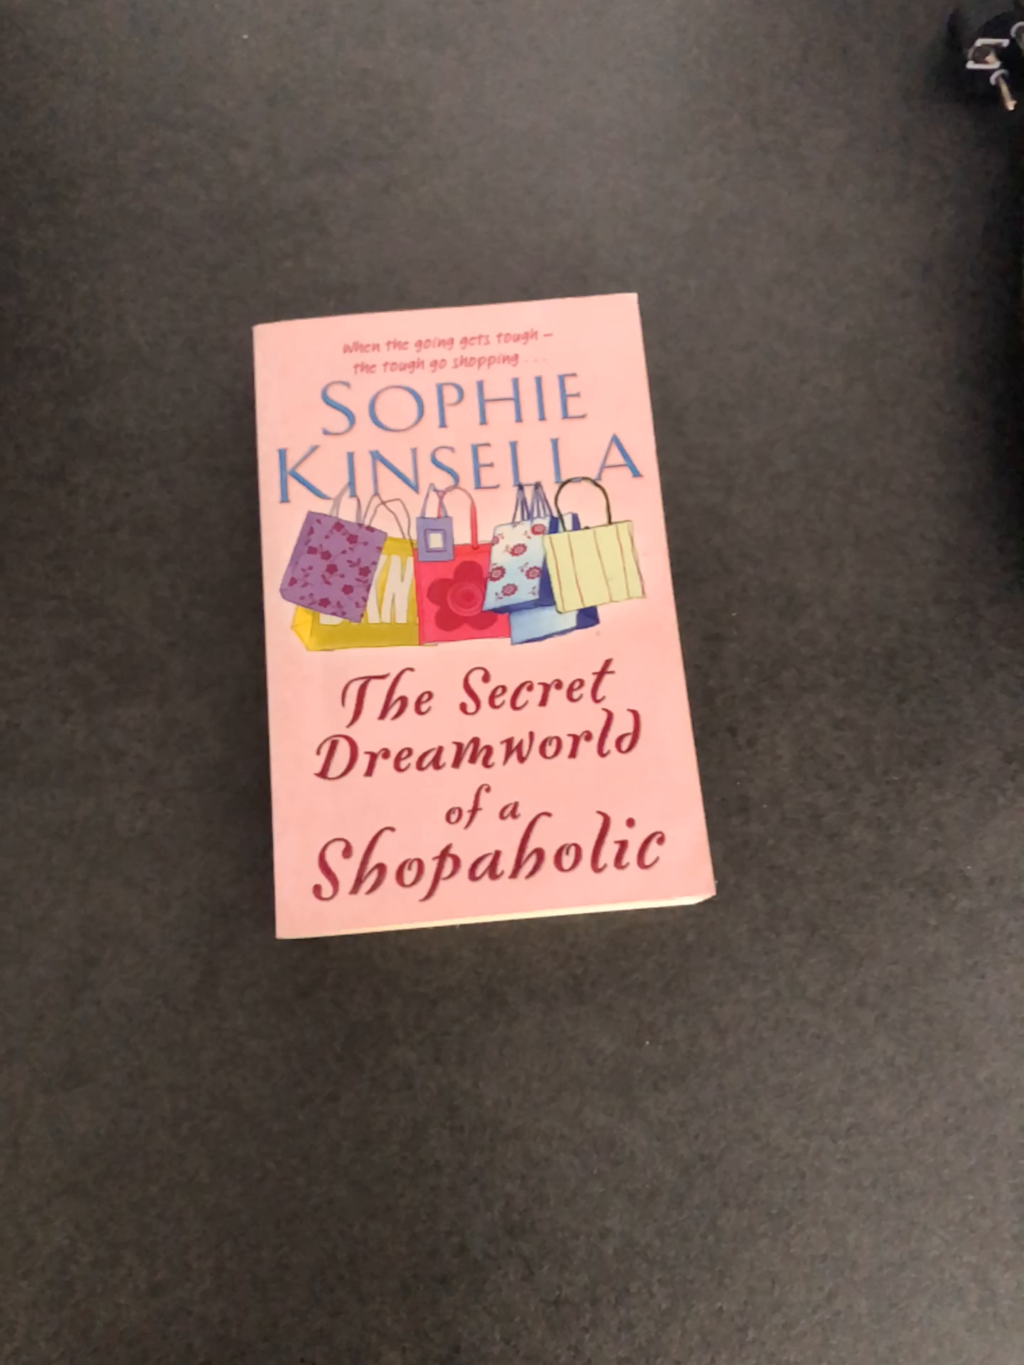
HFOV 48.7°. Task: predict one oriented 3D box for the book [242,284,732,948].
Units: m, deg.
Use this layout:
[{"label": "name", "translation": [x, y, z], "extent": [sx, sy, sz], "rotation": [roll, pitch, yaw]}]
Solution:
[{"label": "book", "translation": [-0.012, -0.025, 0.356], "extent": [0.130, 0.030, 0.200], "rotation": [-5, 76, -5]}]
